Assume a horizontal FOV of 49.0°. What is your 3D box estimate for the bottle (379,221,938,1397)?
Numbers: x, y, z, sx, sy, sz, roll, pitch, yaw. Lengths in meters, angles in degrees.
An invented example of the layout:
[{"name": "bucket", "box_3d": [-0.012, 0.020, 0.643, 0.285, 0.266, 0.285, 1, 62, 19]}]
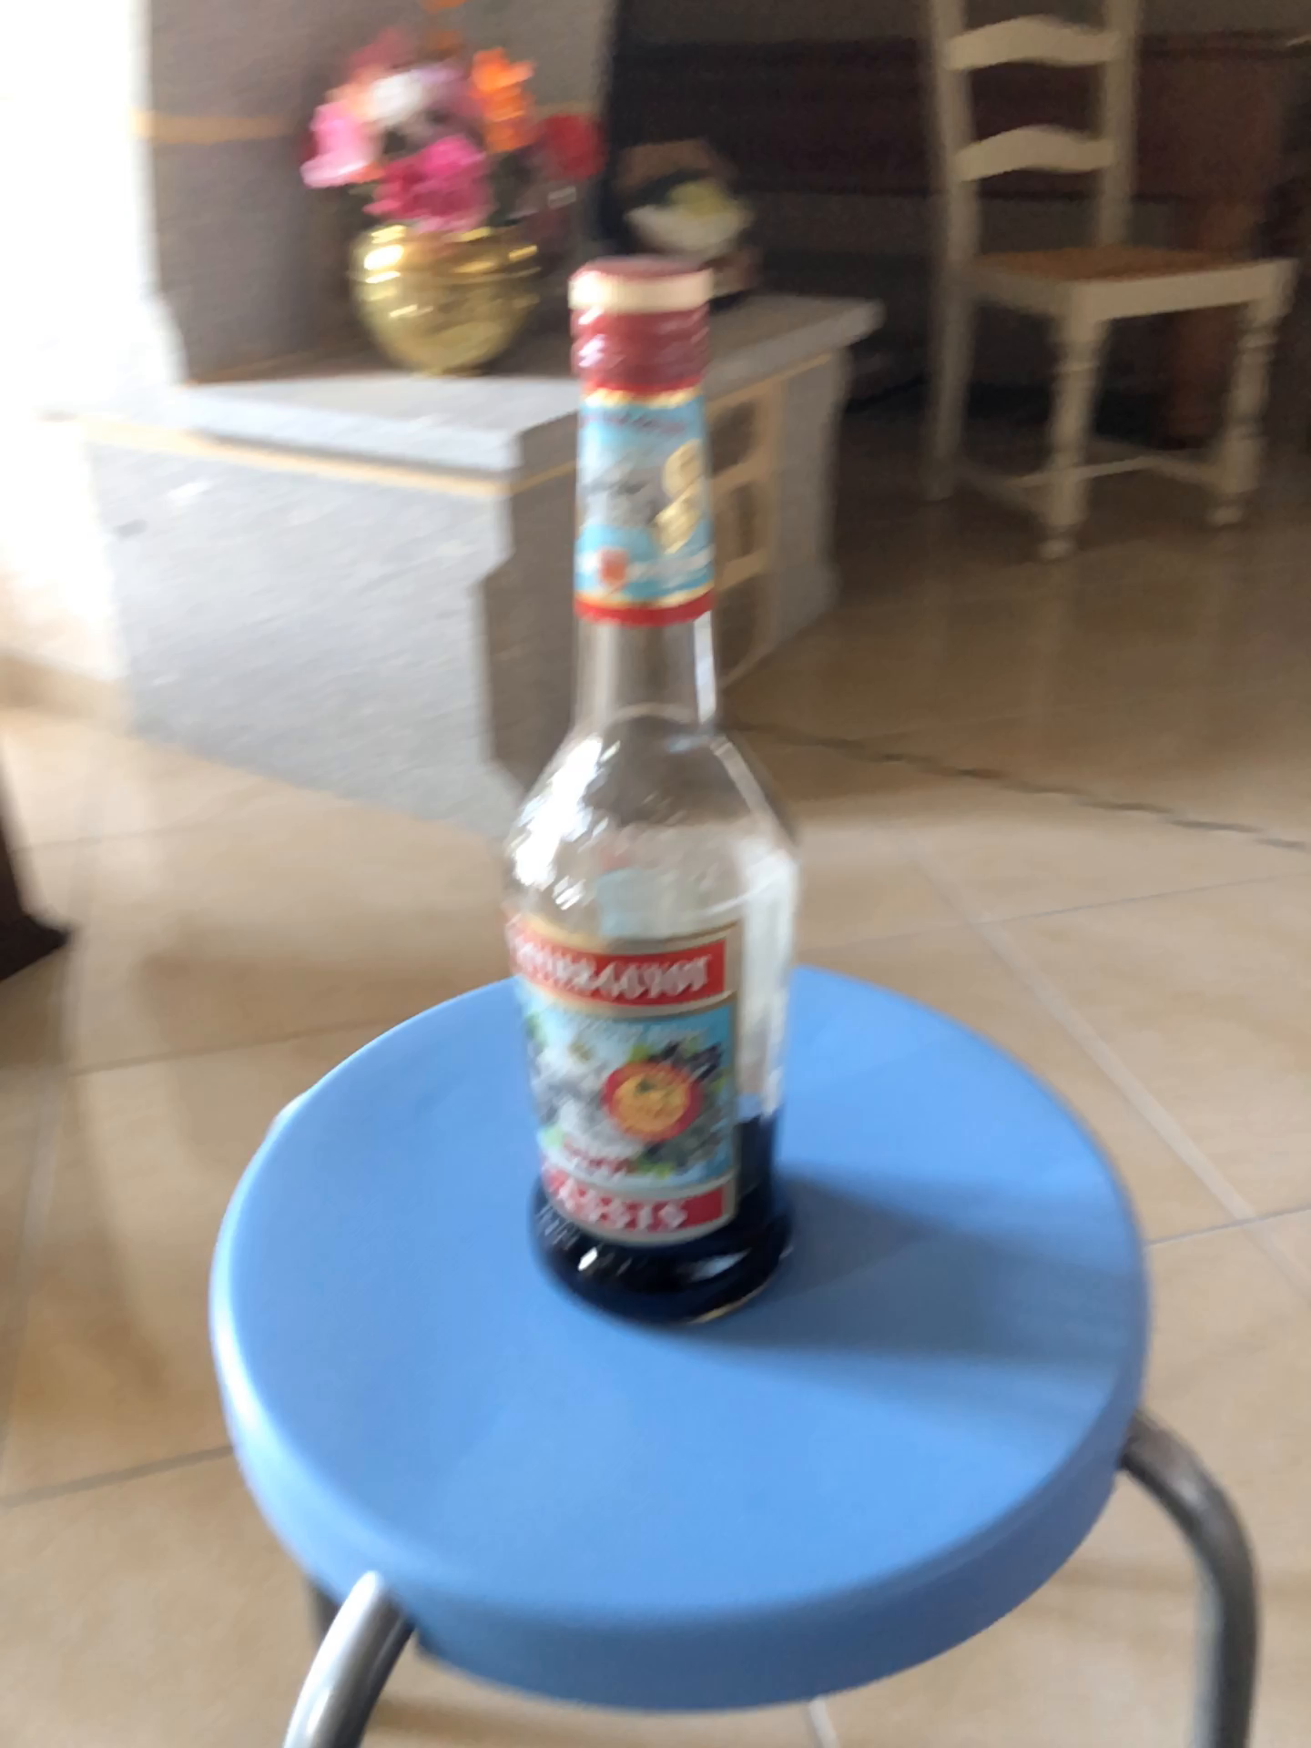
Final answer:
[{"name": "bottle", "box_3d": [0.004, -0.011, 0.397, 0.090, 0.298, 0.090, -1, 29, 0]}]
